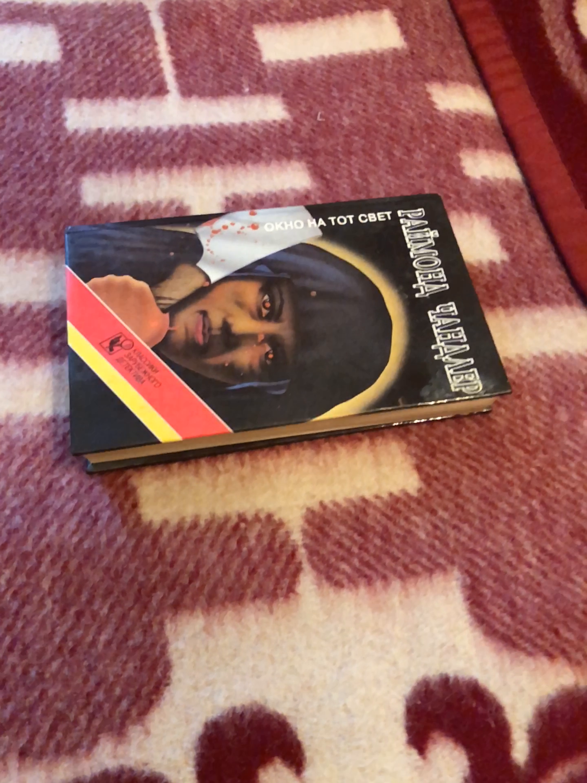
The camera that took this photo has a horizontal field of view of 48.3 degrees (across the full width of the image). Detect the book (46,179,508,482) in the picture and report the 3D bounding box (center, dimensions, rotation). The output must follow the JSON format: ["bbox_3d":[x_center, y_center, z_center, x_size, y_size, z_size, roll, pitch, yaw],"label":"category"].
[{"bbox_3d":[-0.015,-0.038,0.335,0.208,0.032,0.134,-8,63,-7],"label":"book"}]
